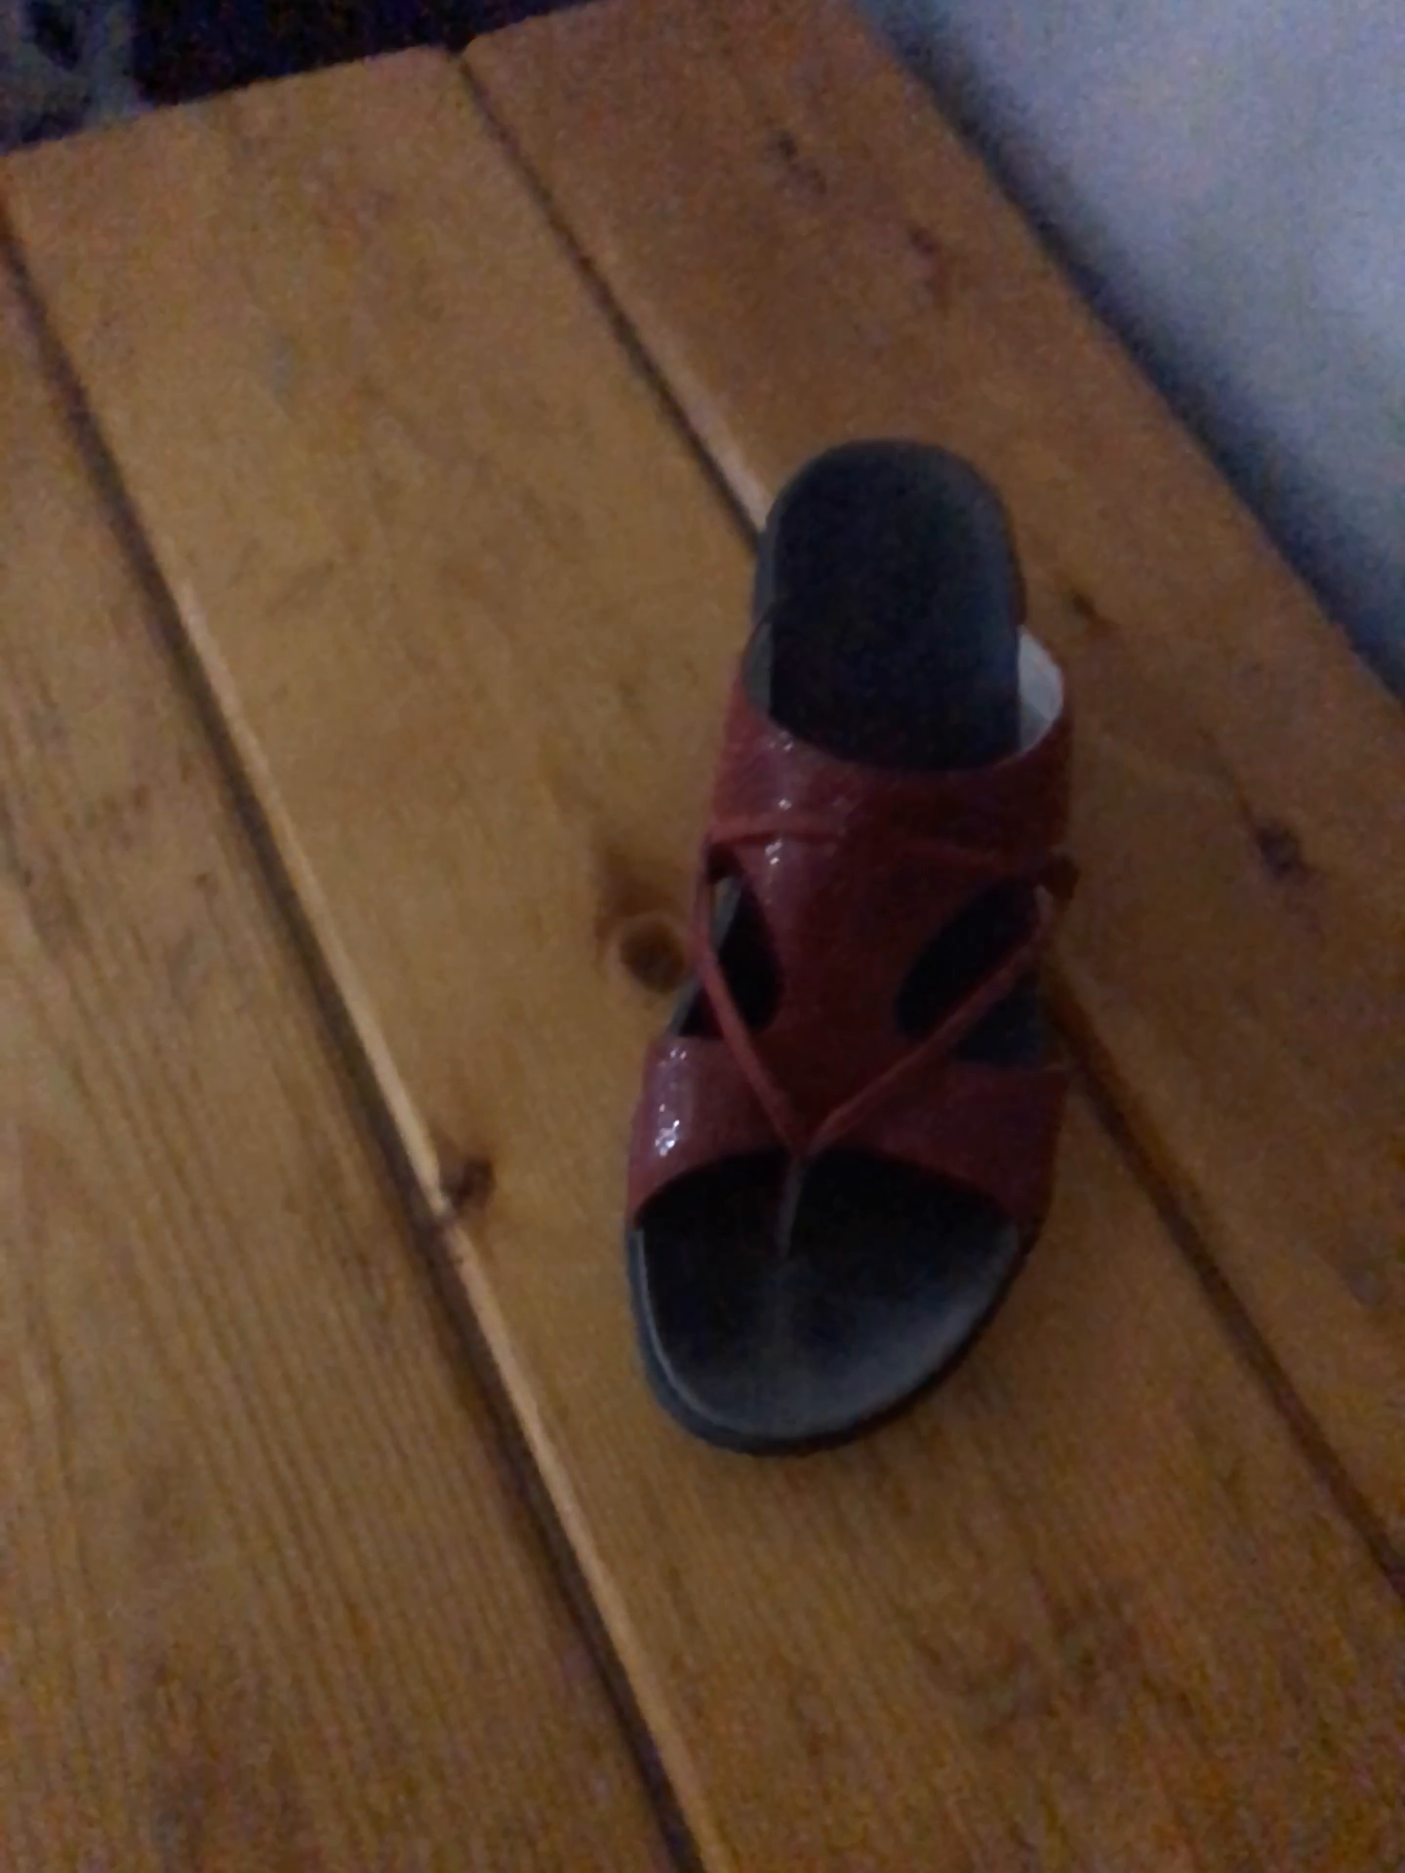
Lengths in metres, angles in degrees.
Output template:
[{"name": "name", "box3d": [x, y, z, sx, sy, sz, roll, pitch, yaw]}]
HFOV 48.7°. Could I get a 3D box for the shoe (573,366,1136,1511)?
[{"name": "shoe", "box3d": [0.041, -0.008, 0.361, 0.100, 0.070, 0.250, 8, 64, 1]}]
